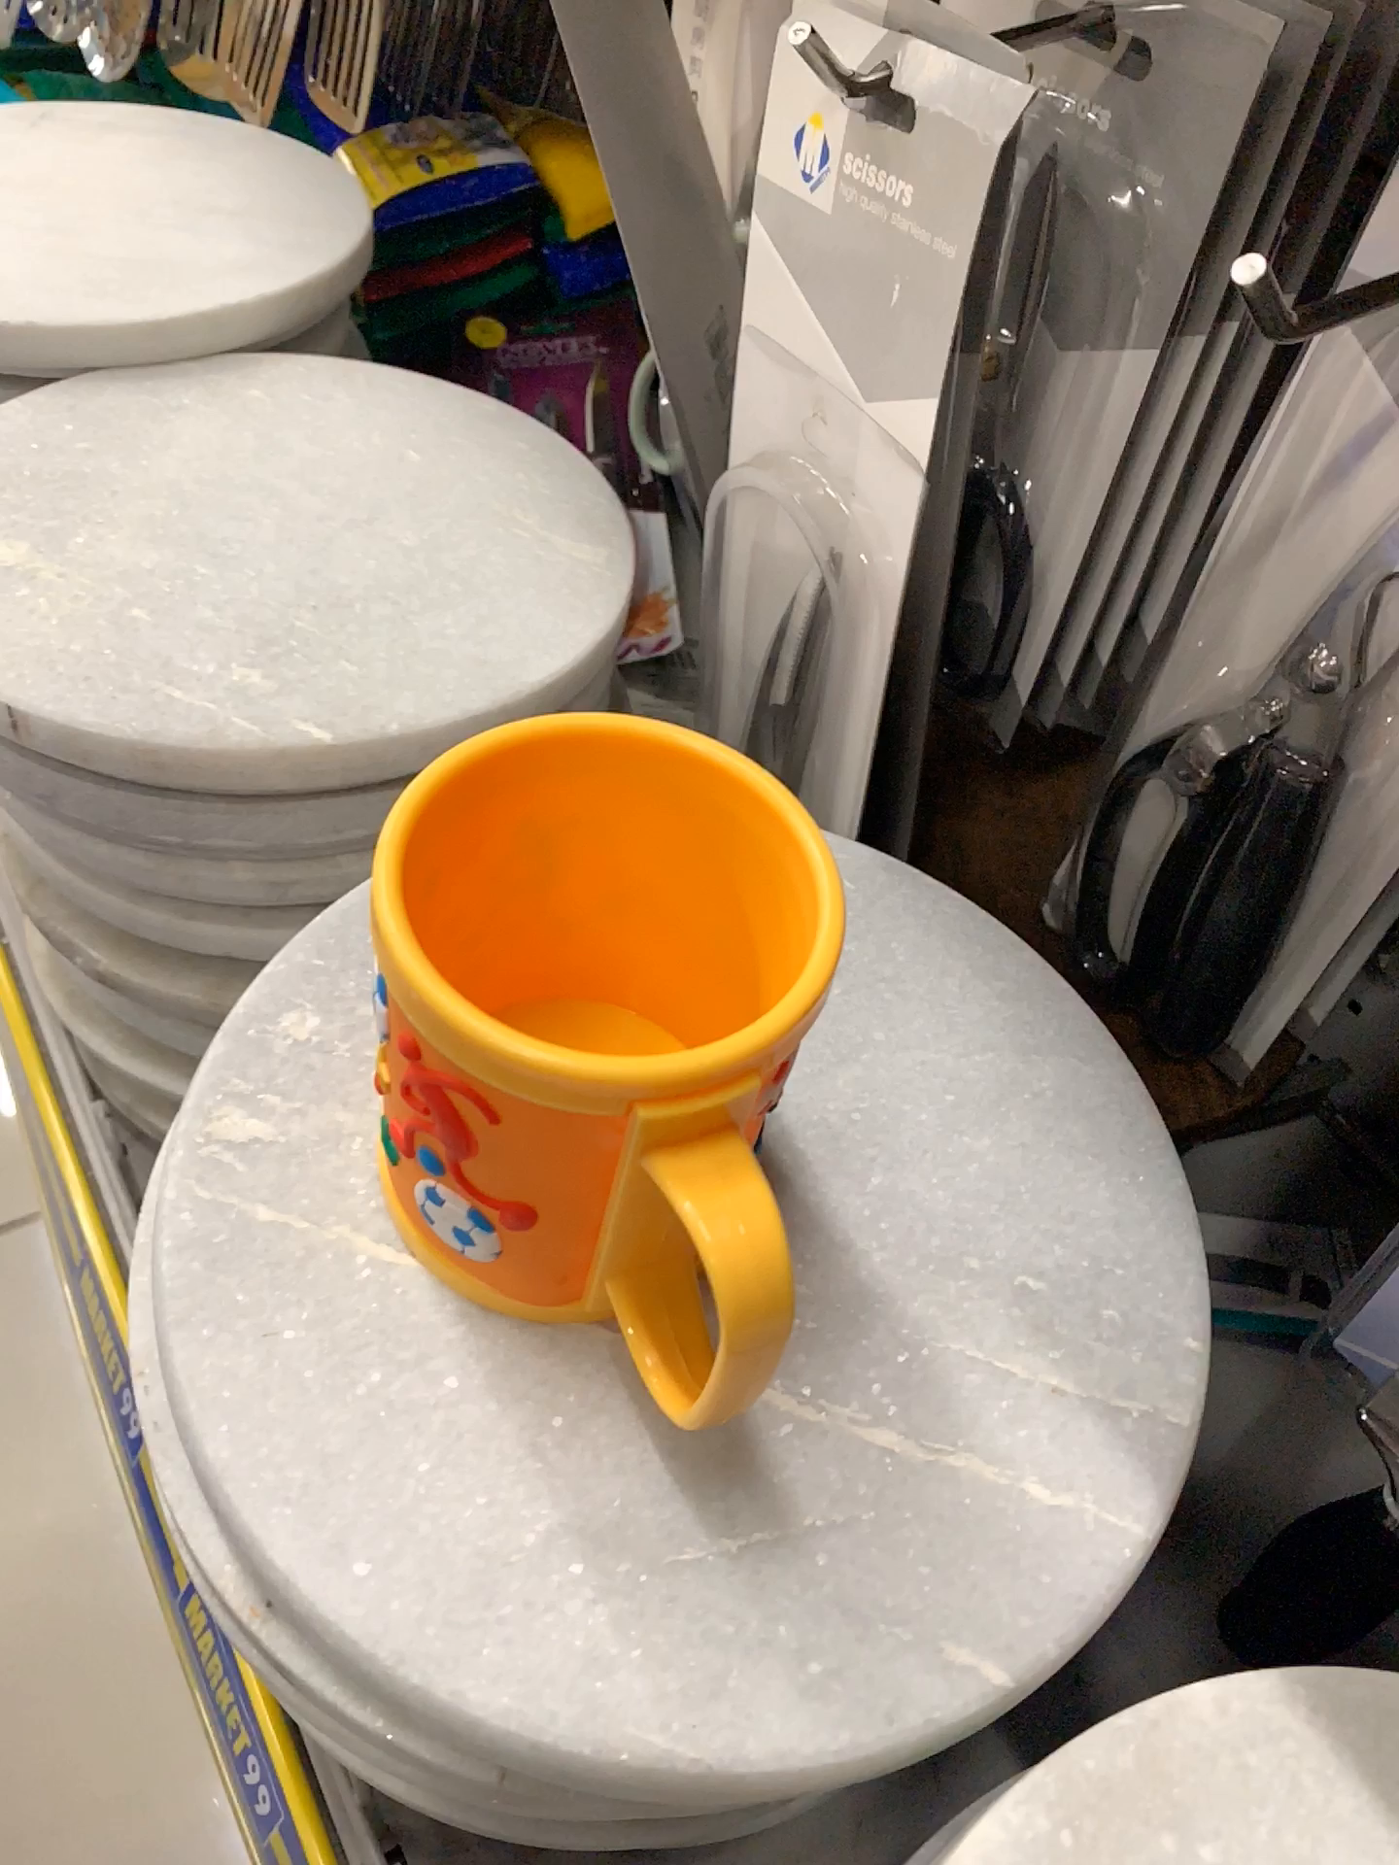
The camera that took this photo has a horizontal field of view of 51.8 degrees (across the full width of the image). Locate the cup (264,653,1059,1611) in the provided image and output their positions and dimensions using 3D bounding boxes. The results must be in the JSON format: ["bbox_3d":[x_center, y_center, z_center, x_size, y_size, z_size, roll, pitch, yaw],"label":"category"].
[{"bbox_3d":[-0.016,0.032,0.250,0.080,0.100,0.110,-16,52,-21],"label":"cup"}]
